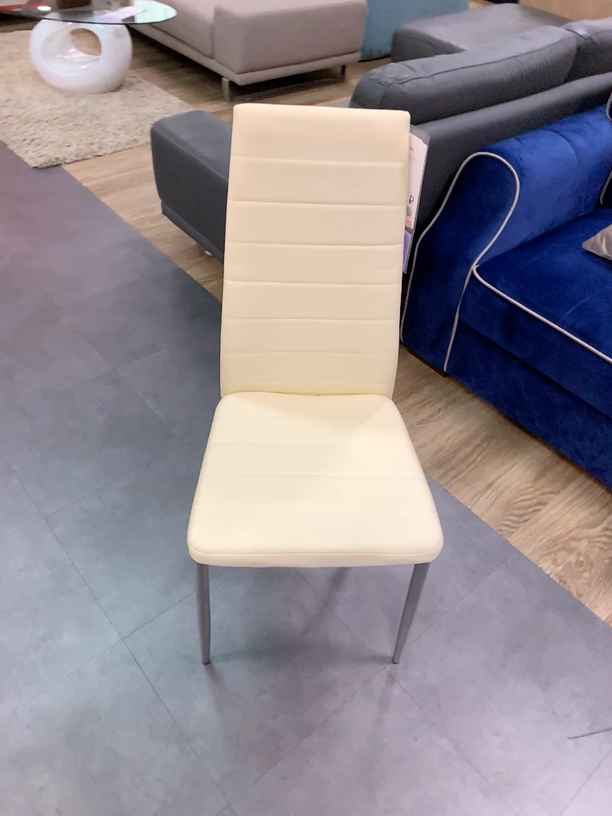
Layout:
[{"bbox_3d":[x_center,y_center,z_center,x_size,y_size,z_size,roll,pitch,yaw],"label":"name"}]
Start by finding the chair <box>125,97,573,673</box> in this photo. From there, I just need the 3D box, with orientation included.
[{"bbox_3d":[0.017,0.037,1.119,0.445,0.941,0.479,1,44,-3],"label":"chair"}]
